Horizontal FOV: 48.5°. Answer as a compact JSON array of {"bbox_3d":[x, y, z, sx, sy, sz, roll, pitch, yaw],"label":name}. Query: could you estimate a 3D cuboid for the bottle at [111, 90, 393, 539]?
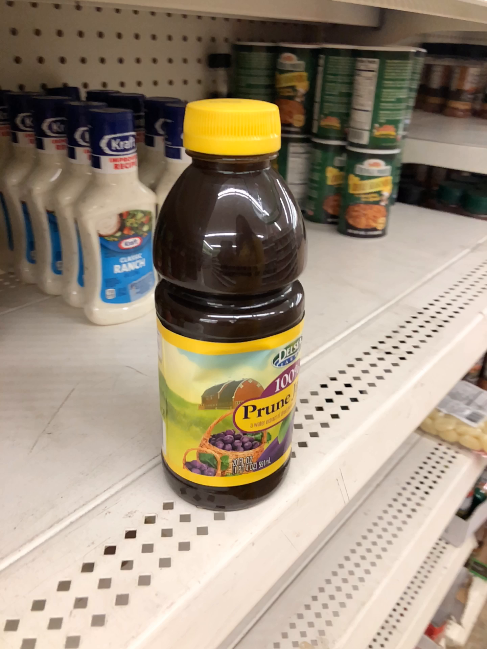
[{"bbox_3d":[0.002,-0.008,0.256,0.080,0.181,0.080,2,28,-1],"label":"bottle"}]
